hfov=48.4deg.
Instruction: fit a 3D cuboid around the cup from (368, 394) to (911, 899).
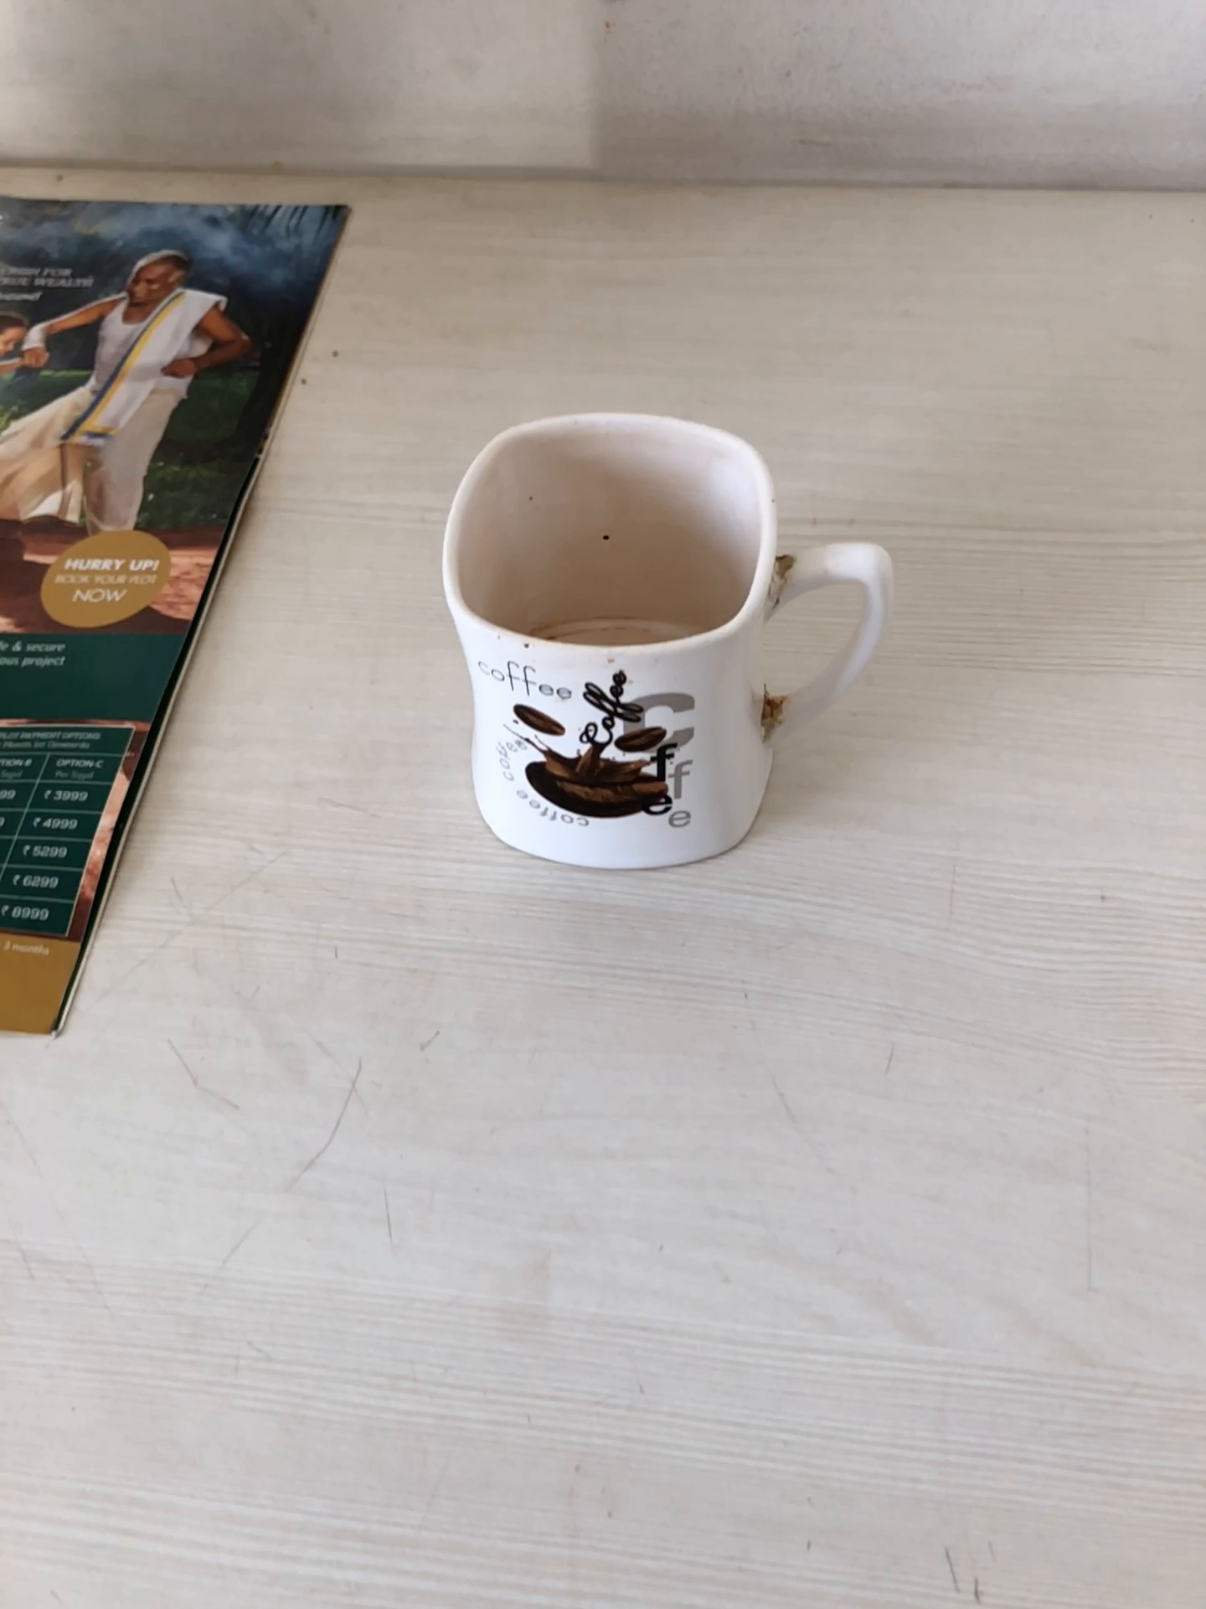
[{"bbox_3d":[0.010,-0.031,0.270,0.090,0.070,0.070,2,55,5],"label":"cup"}]
